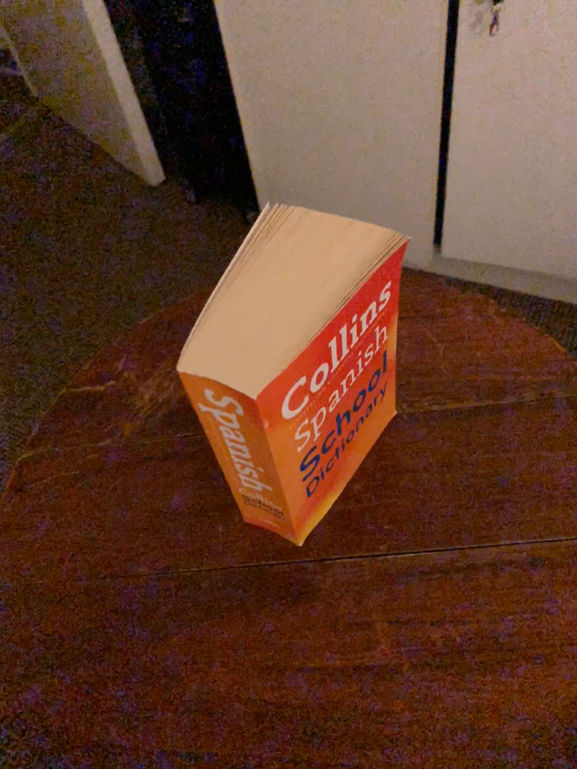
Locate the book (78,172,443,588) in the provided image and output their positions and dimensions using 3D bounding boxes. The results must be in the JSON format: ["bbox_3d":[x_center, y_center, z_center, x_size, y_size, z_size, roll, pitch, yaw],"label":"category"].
[{"bbox_3d":[0.003,-0.001,0.311,0.080,0.149,0.141,21,62,35],"label":"book"}]
